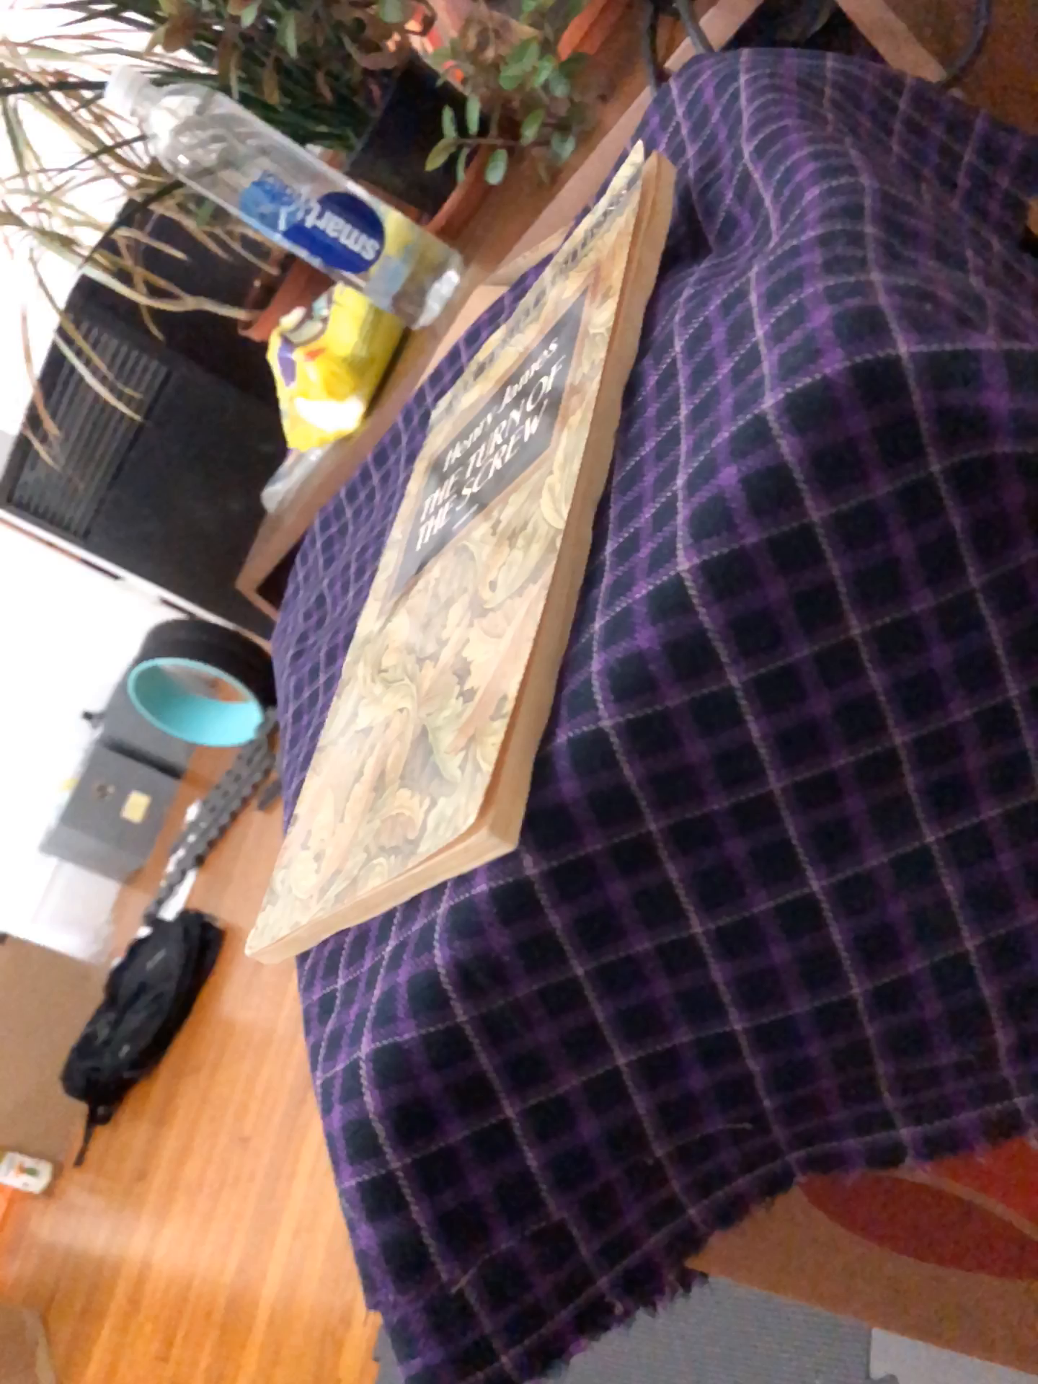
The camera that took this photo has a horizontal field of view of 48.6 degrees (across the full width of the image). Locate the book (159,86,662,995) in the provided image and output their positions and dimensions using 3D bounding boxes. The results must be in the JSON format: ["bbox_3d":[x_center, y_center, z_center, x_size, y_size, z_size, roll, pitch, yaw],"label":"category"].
[{"bbox_3d":[-0.027,-0.040,0.297,0.140,0.010,0.220,-34,35,51],"label":"book"}]
